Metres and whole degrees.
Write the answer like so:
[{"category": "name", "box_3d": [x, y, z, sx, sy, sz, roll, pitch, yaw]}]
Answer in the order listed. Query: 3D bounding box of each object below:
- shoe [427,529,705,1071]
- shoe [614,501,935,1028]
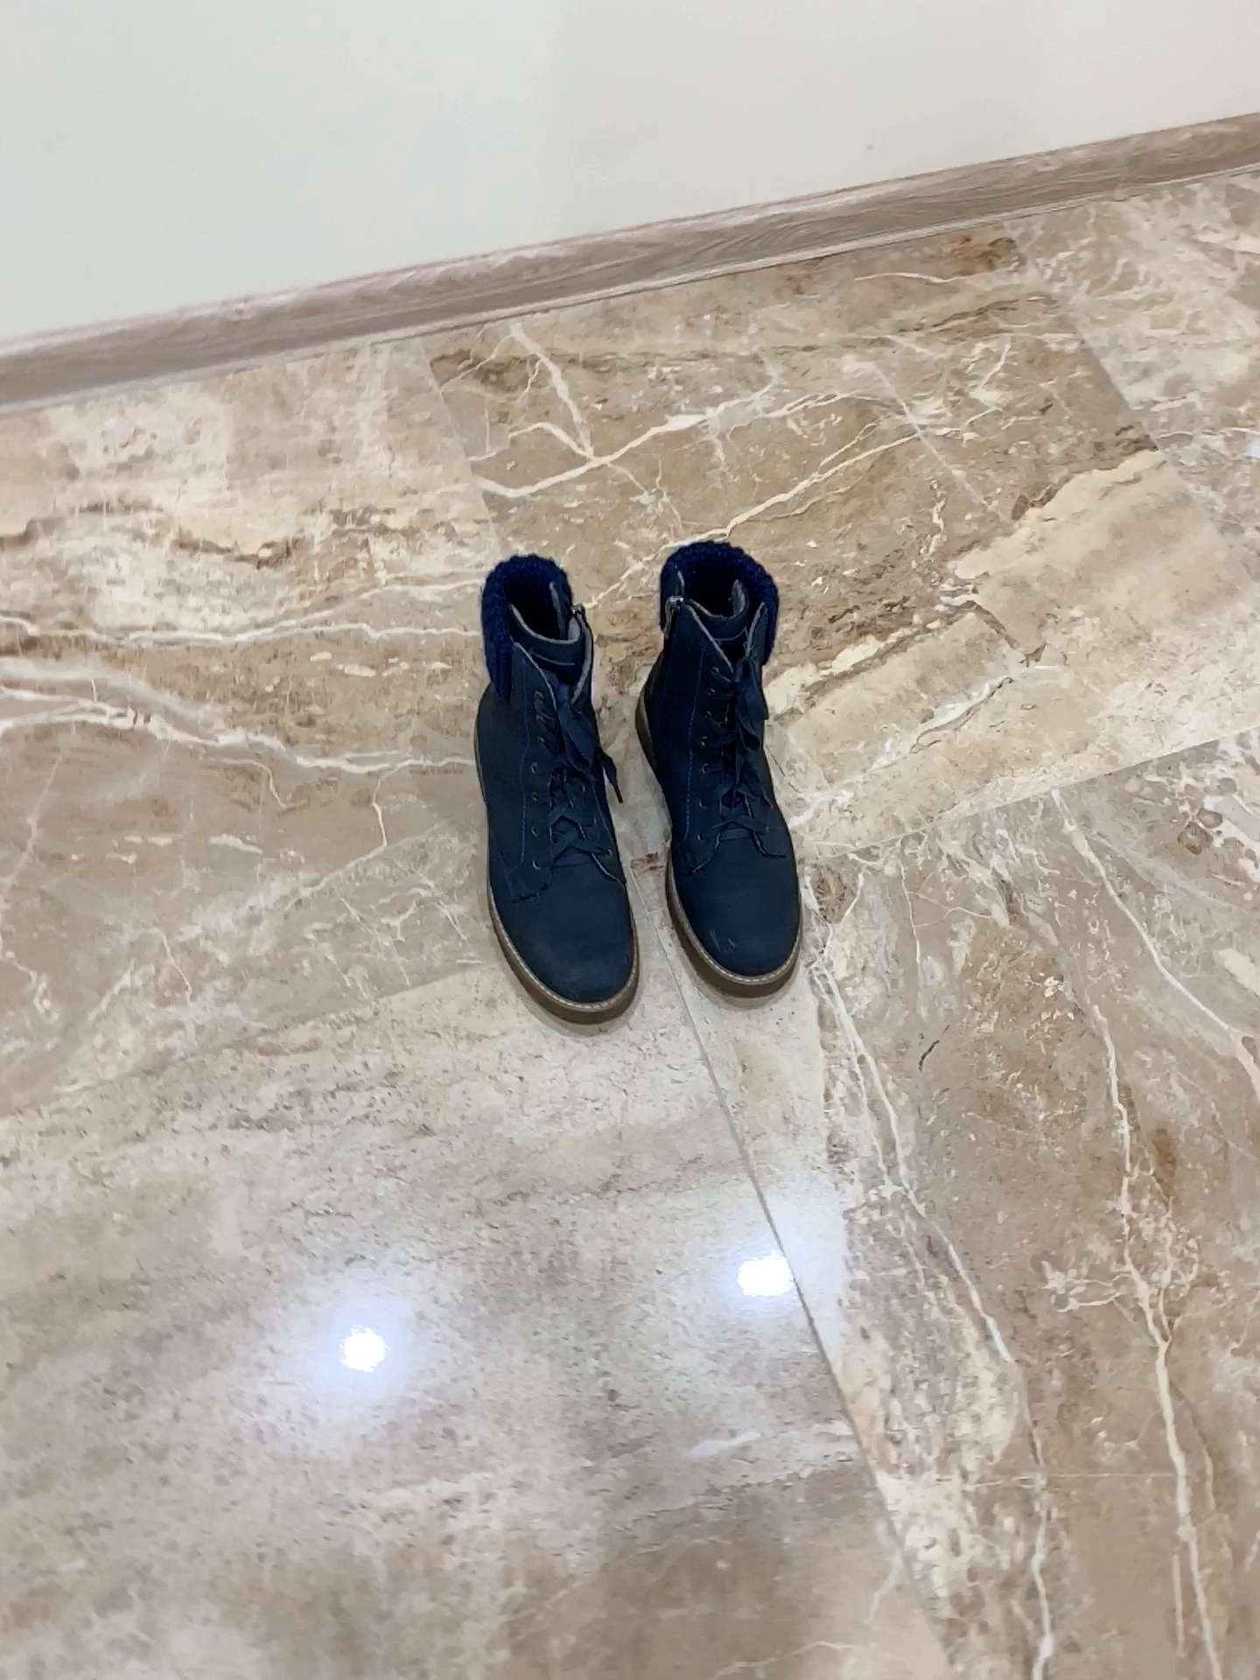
[{"category": "shoe", "box_3d": [-0.049, -0.020, 0.799, 0.101, 0.199, 0.261, -10, 65, -10]}, {"category": "shoe", "box_3d": [0.076, -0.043, 0.824, 0.101, 0.199, 0.261, -10, 65, -10]}]
